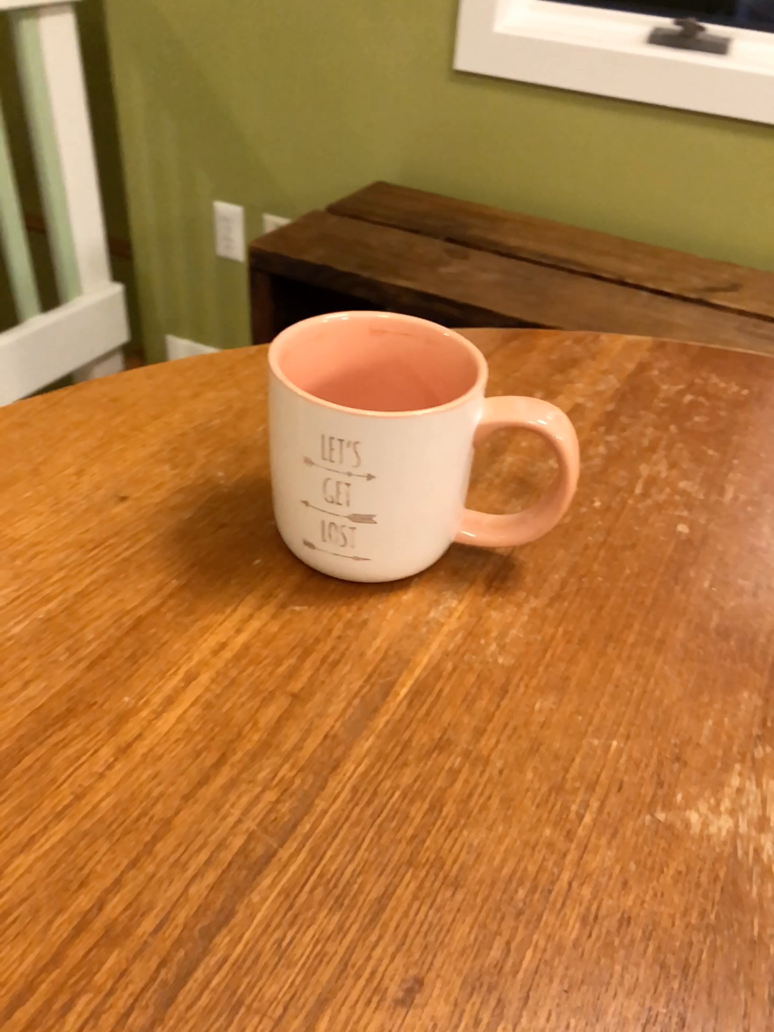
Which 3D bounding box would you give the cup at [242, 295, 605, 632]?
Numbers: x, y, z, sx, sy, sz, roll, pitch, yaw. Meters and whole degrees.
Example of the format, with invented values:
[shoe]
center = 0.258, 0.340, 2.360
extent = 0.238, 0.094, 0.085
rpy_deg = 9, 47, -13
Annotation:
[cup]
center = 0.017, -0.027, 0.405
extent = 0.144, 0.106, 0.094
rpy_deg = 8, 37, 5
